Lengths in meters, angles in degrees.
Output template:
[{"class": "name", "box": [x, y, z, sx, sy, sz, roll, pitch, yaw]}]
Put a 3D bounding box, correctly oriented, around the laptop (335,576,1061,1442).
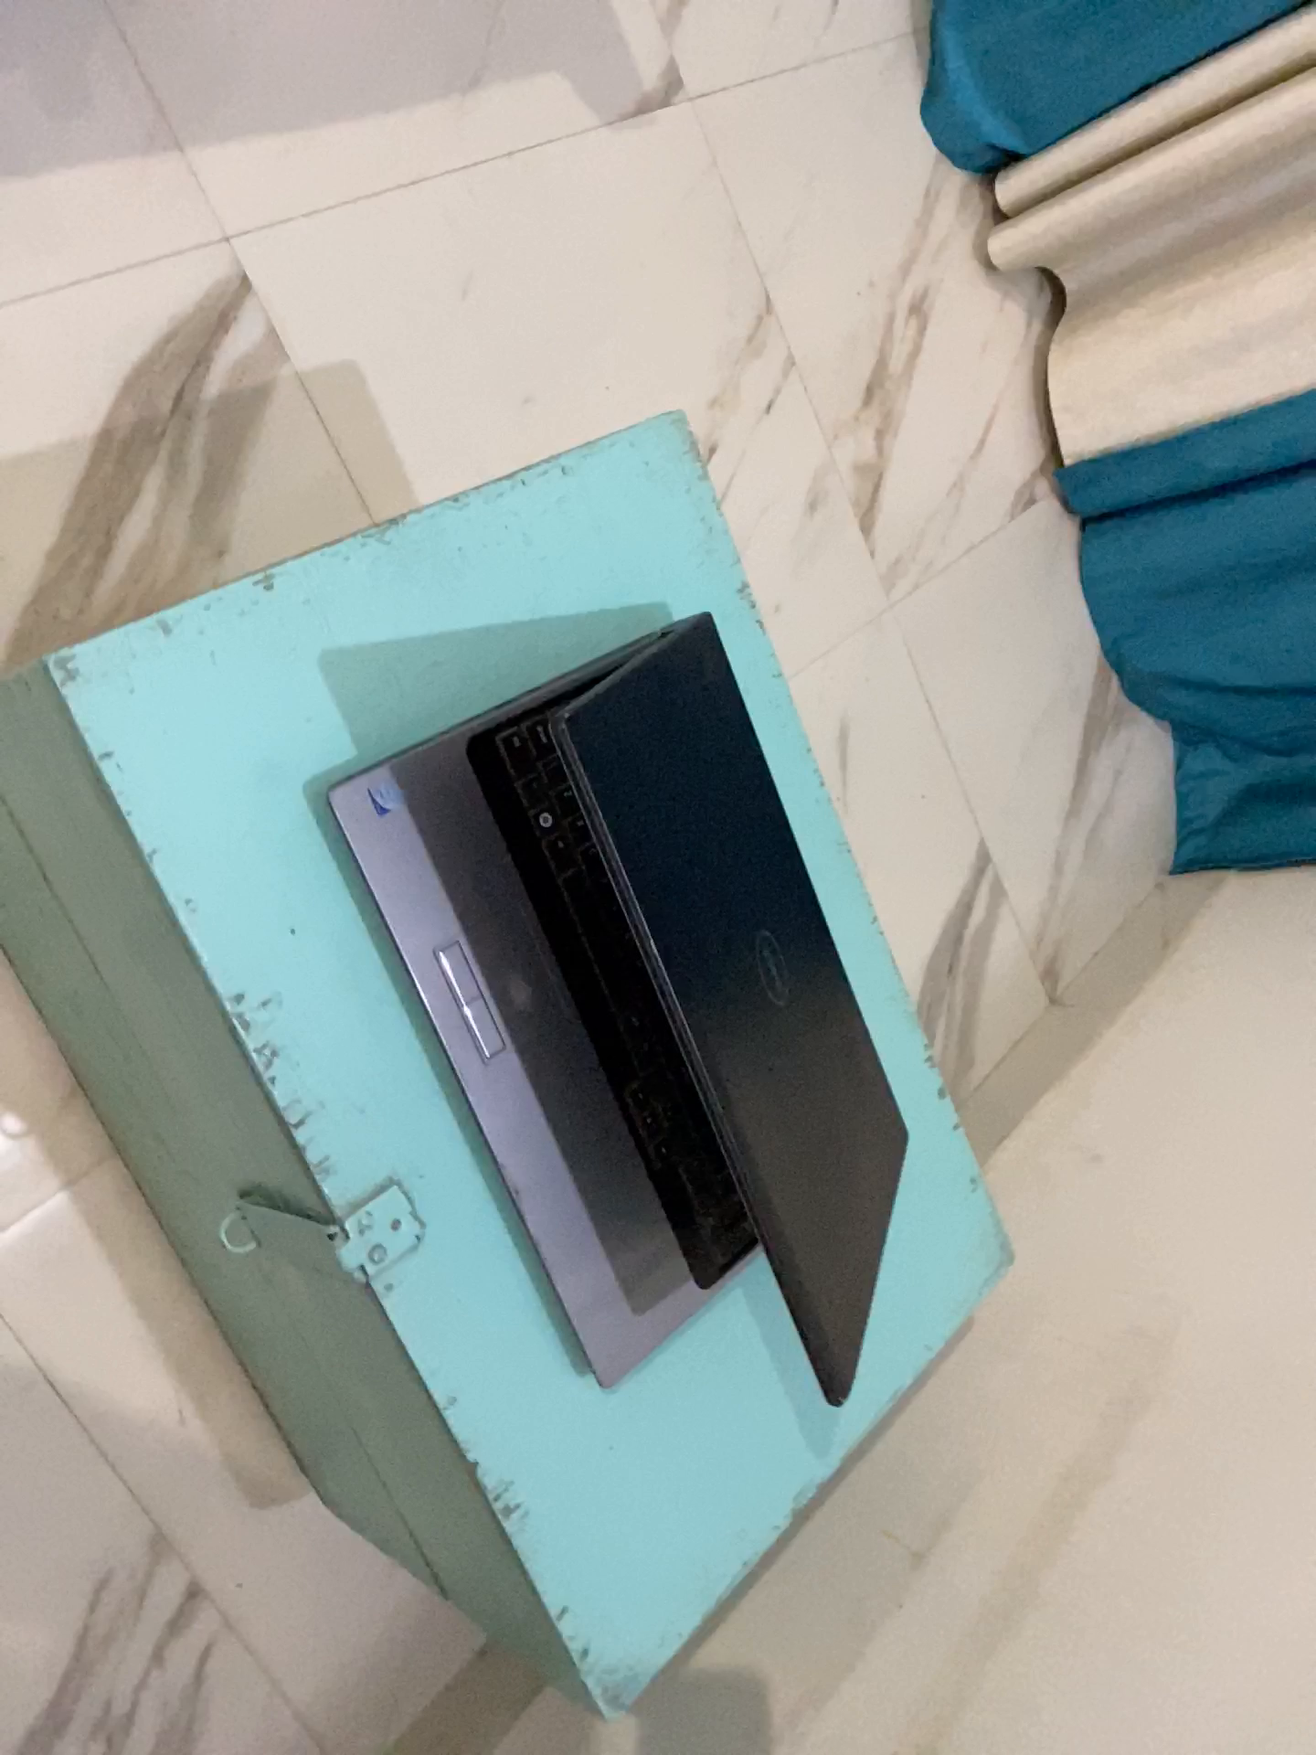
[{"class": "laptop", "box": [0.040, 0.066, 0.776, 0.262, 0.152, 0.387, -33, 107, -34]}]
